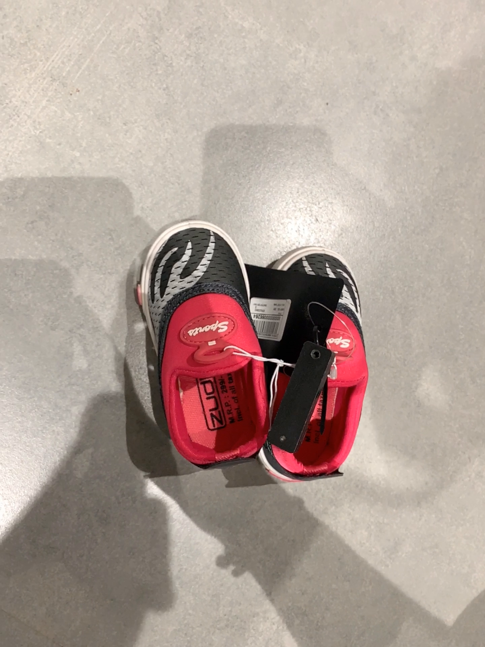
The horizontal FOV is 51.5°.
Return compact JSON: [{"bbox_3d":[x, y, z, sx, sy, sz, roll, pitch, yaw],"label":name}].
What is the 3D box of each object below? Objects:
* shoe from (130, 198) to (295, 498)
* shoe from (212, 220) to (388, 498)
[{"bbox_3d":[-0.020,0.011,0.278,0.060,0.060,0.140,-9,90,-13],"label":"shoe"},{"bbox_3d":[0.031,0.021,0.298,0.070,0.060,0.140,9,86,-13],"label":"shoe"}]
